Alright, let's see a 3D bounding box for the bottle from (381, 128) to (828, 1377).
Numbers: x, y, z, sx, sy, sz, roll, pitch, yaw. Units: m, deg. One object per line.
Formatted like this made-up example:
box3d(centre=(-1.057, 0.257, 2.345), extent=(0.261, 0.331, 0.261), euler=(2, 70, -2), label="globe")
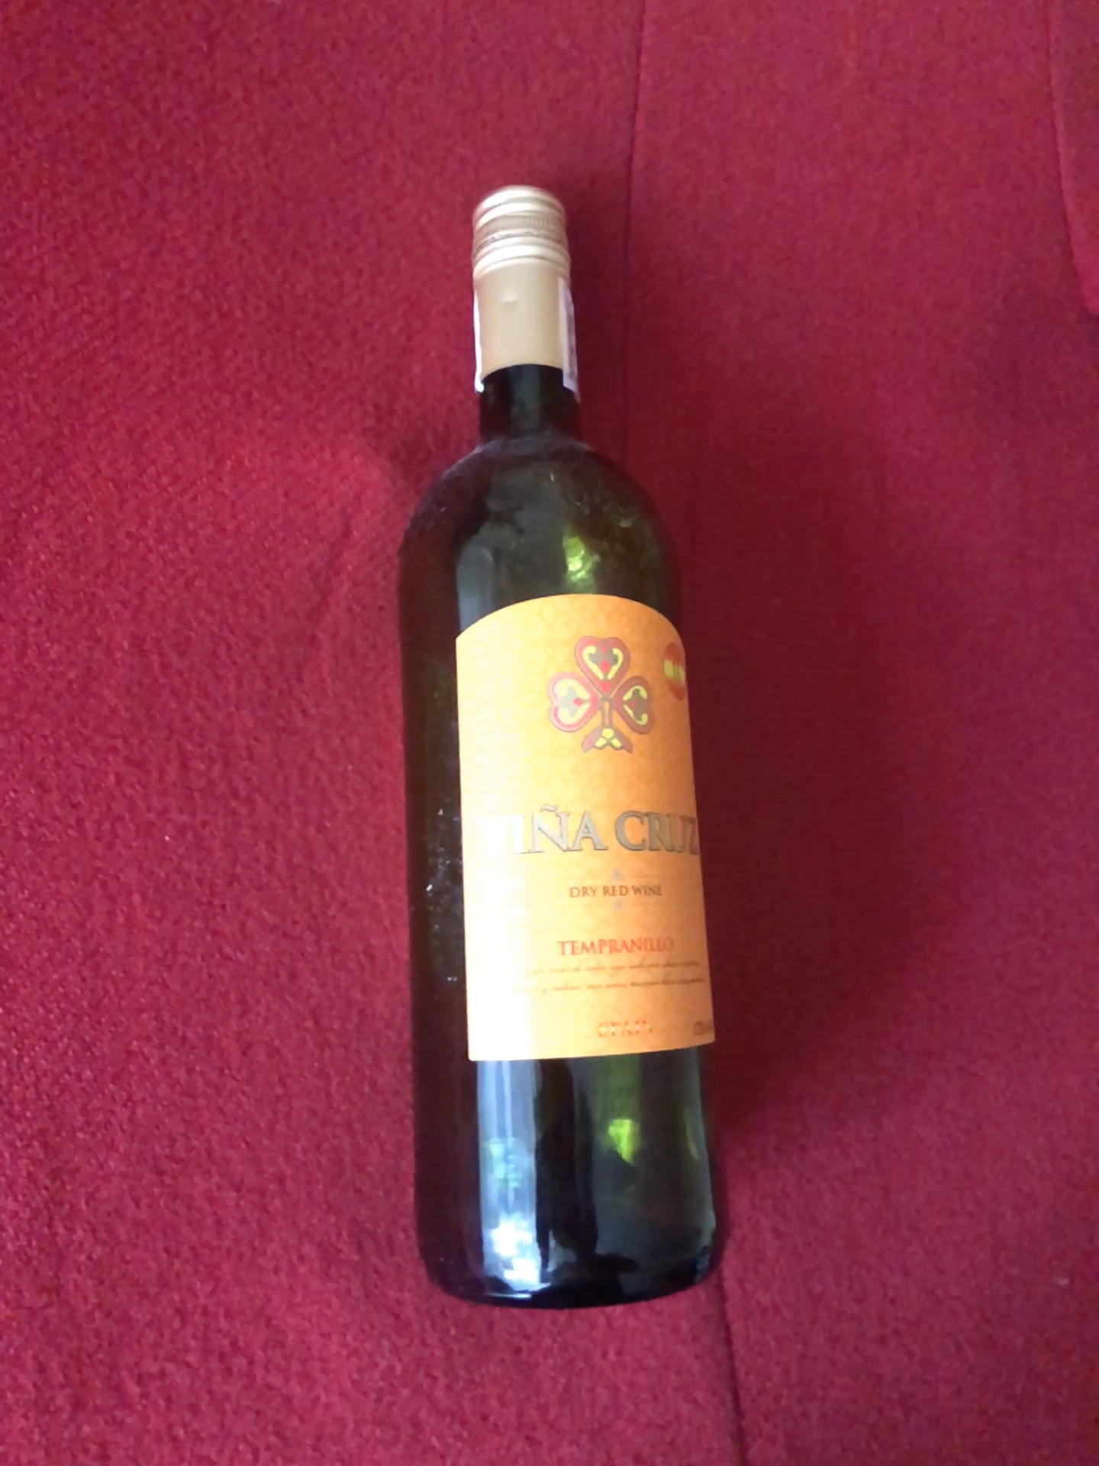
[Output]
box3d(centre=(0.007, -0.002, 0.335), extent=(0.080, 0.070, 0.300), euler=(2, 78, -24), label="bottle")
